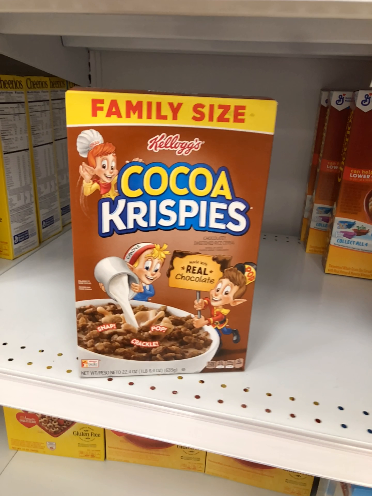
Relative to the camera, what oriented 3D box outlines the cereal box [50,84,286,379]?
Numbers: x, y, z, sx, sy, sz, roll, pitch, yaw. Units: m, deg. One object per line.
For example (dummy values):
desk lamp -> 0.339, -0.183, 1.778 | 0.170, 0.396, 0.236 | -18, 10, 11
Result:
cereal box -> -0.020, -0.009, 0.437 | 0.200, 0.299, 0.070 | -1, 23, -6
